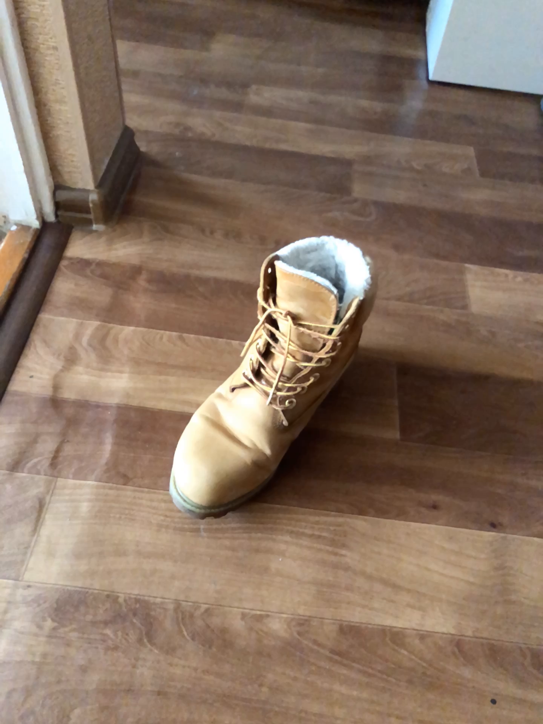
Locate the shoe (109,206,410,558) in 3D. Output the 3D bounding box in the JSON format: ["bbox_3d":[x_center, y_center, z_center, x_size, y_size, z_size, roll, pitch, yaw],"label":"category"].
[{"bbox_3d":[-0.003,0.012,0.598,0.120,0.179,0.291,31,55,17],"label":"shoe"}]
